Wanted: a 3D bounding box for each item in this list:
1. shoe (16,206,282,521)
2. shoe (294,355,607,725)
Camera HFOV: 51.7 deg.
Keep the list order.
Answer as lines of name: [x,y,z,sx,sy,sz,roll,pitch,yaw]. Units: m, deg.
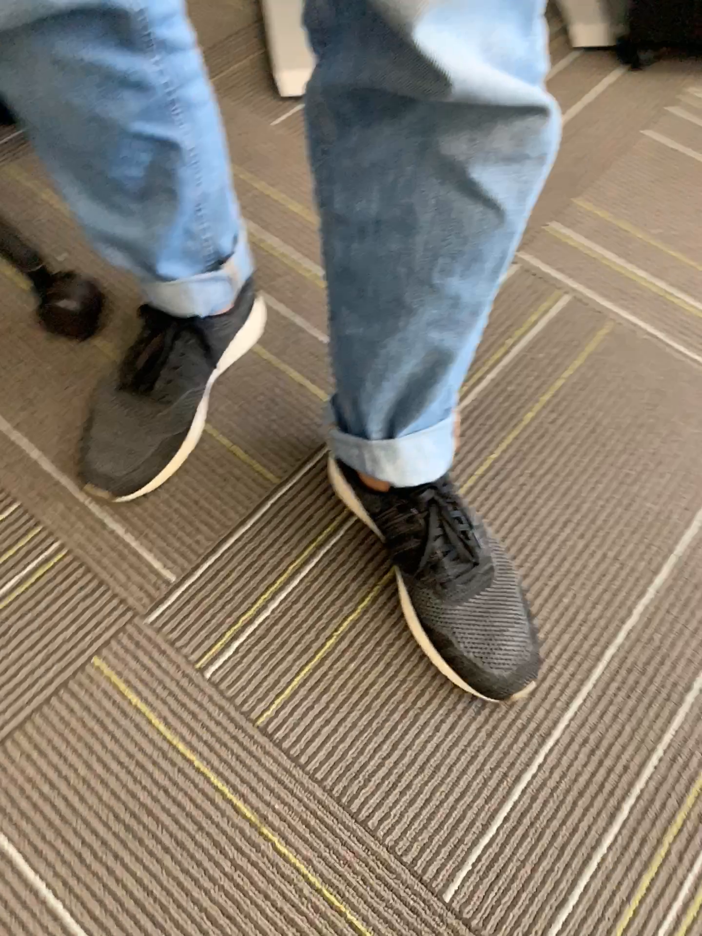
shoe: [-0.189,-0.115,0.747,0.110,0.106,0.307,20,62,10]
shoe: [0.072,0.057,0.661,0.112,0.106,0.307,-27,64,-16]
